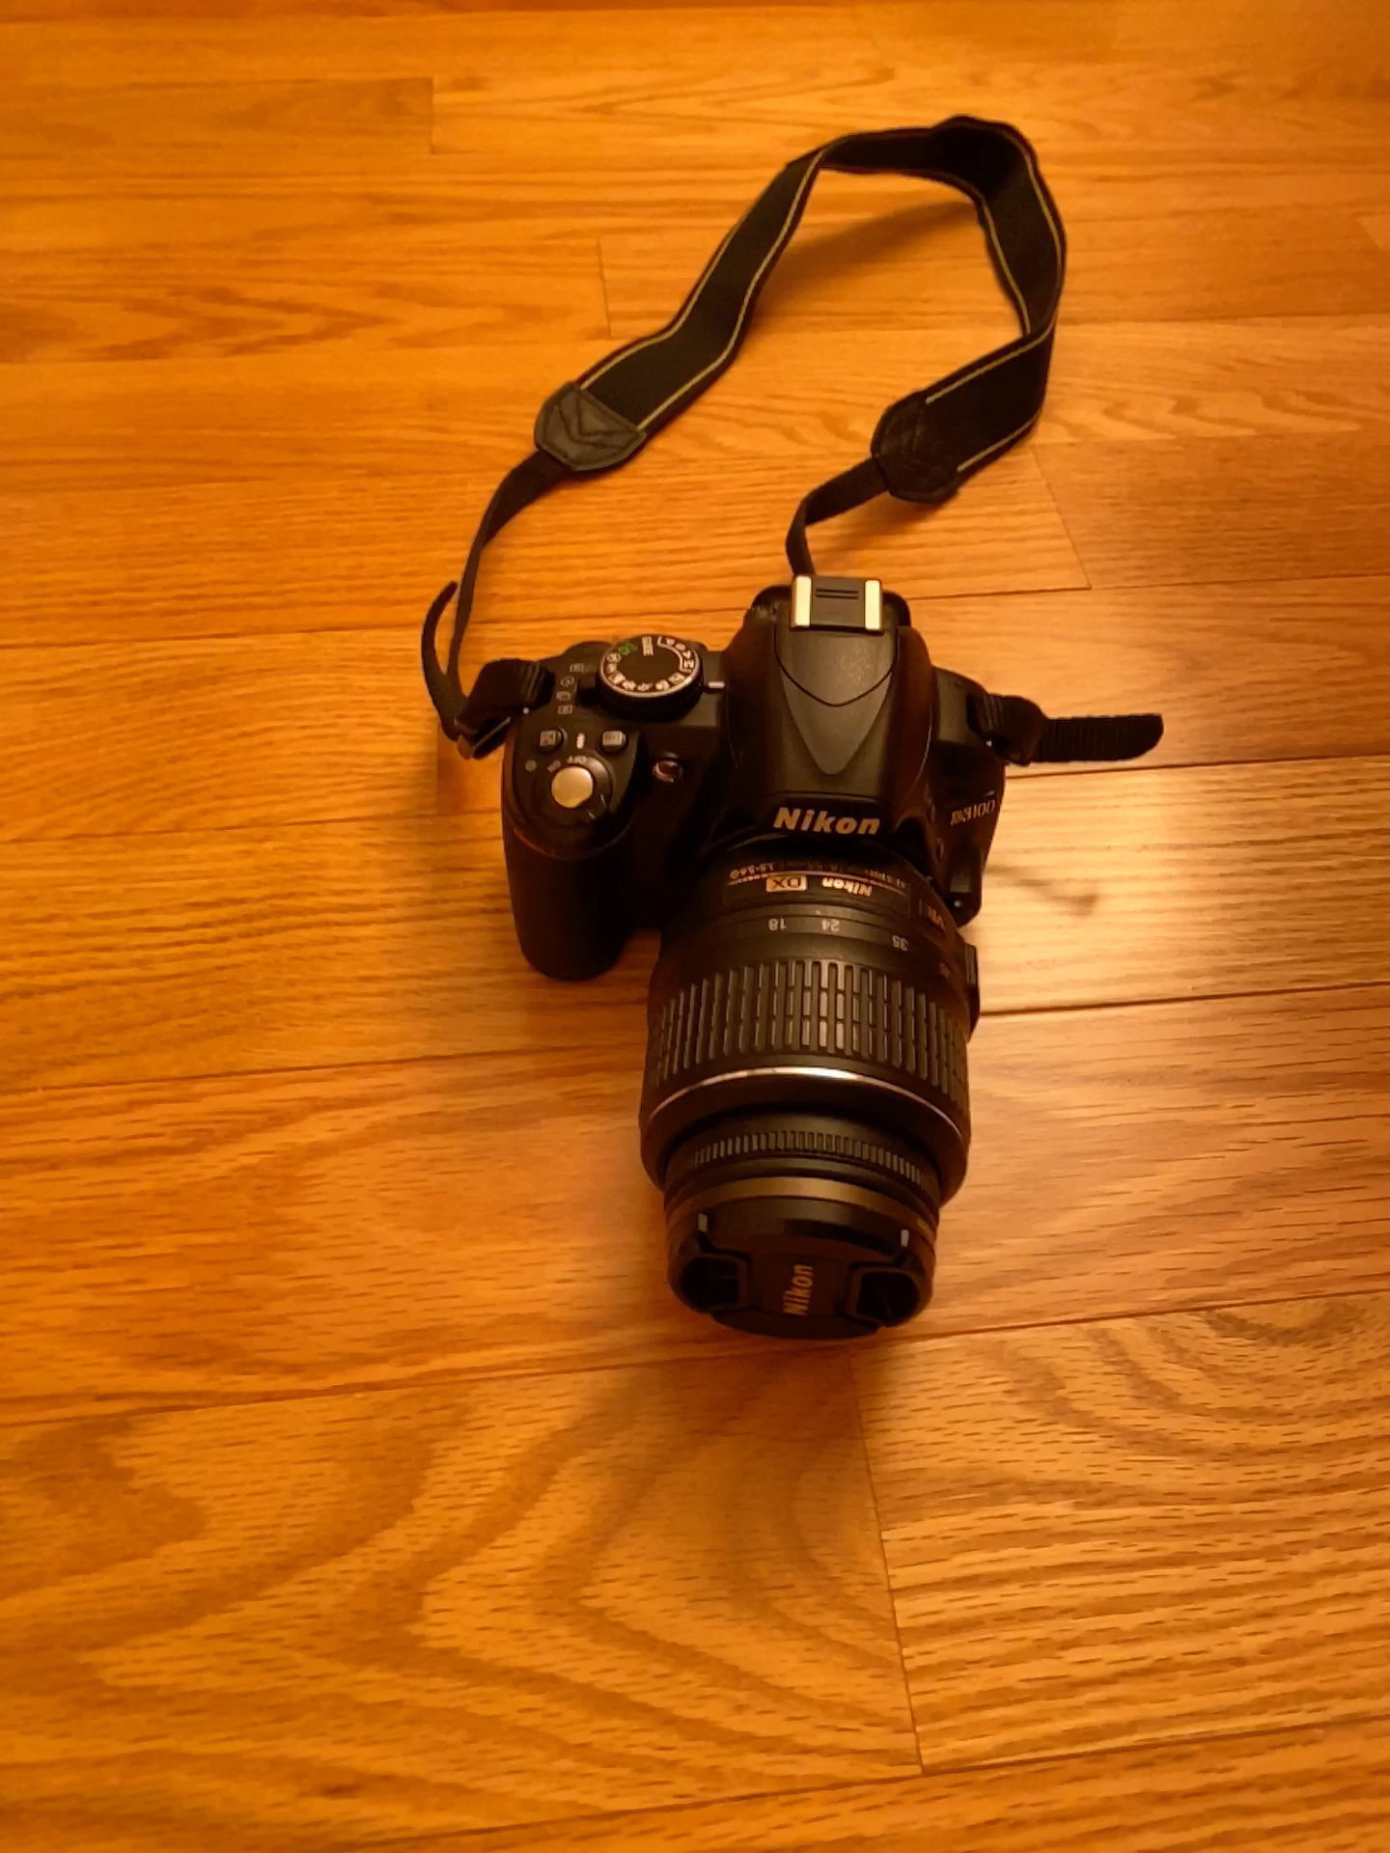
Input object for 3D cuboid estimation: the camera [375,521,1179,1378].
[{"bbox_3d":[0.015,0.002,0.320,0.130,0.099,0.161,2,51,0],"label":"camera"}]
